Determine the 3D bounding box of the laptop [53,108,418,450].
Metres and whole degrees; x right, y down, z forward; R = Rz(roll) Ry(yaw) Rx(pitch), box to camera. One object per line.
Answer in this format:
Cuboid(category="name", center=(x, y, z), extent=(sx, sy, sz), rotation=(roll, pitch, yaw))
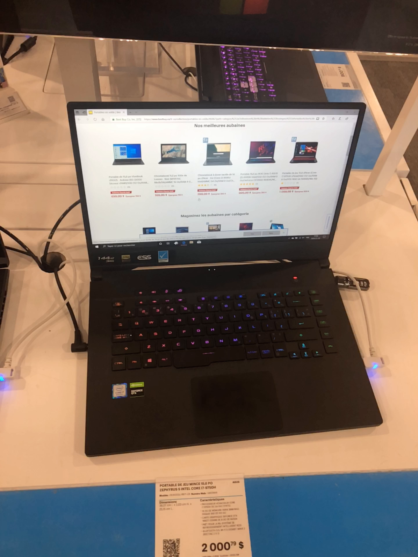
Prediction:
Cuboid(category="laptop", center=(0.031, -0.009, 0.526), extent=(0.340, 0.207, 0.315), rotation=(-2, 55, -6))
